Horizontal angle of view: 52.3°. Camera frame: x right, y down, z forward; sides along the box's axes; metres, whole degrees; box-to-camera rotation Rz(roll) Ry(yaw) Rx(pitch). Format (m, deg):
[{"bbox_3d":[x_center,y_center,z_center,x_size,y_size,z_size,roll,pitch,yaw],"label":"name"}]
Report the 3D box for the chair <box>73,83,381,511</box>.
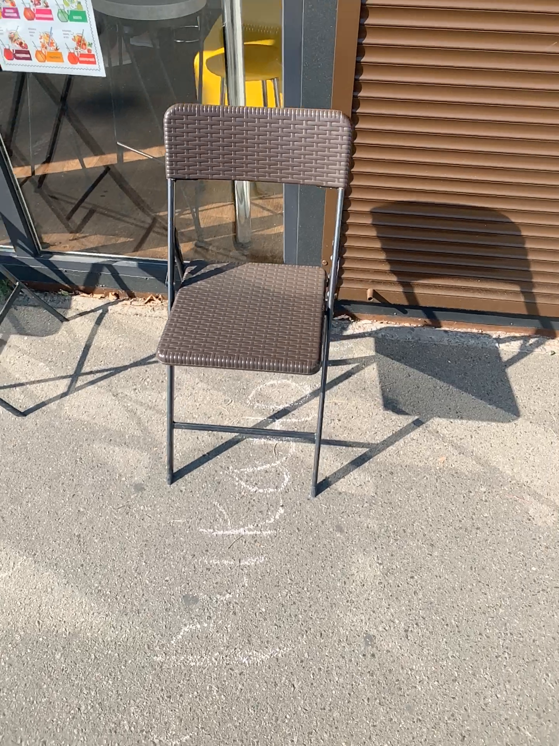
[{"bbox_3d":[-0.059,-0.162,1.363,0.480,0.767,0.612,5,47,3],"label":"chair"}]
